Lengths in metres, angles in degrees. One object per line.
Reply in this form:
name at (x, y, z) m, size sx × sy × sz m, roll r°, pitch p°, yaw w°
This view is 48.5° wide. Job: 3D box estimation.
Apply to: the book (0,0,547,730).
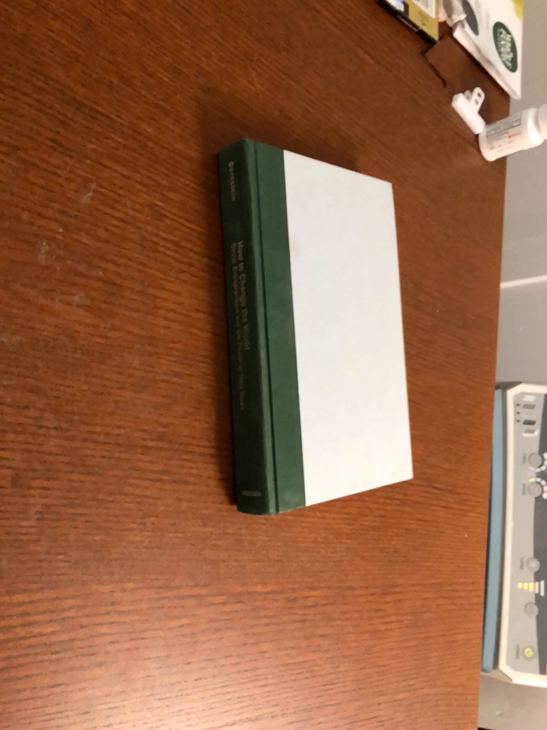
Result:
book at (0.327, 0.233, 0.178) m, size 1.005 × 0.995 × 1.000 m, roll -26°, pitch 104°, yaw -41°
